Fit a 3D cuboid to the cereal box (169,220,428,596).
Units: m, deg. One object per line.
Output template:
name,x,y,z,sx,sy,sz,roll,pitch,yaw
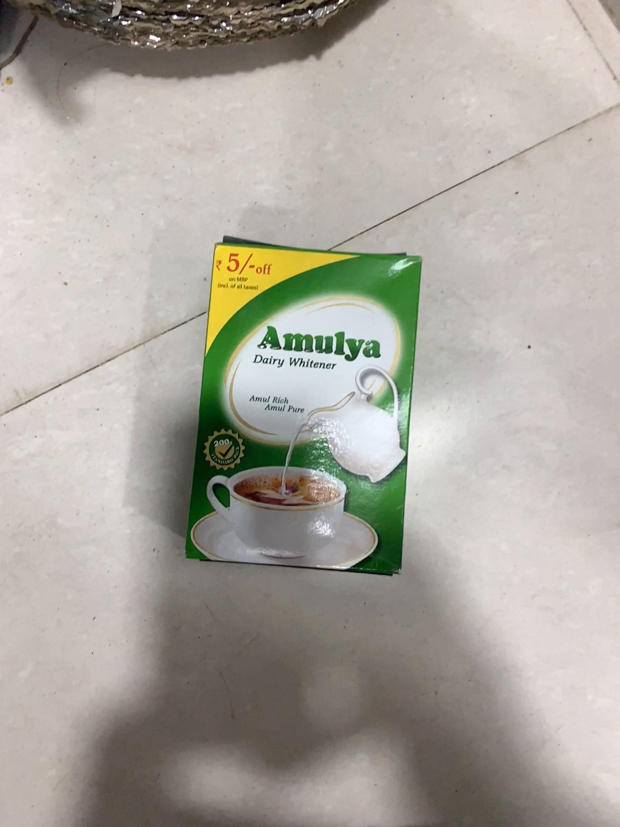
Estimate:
cereal box,-0.003,-0.001,0.276,0.090,0.060,0.140,4,85,0
